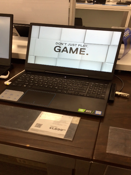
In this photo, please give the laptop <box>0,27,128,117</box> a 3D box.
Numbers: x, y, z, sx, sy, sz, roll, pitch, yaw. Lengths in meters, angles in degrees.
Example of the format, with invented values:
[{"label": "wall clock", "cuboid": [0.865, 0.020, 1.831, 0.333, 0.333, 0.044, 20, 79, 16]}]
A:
[{"label": "laptop", "cuboid": [-0.005, -0.080, 0.599, 0.358, 0.175, 0.303, 10, 39, 16]}]
